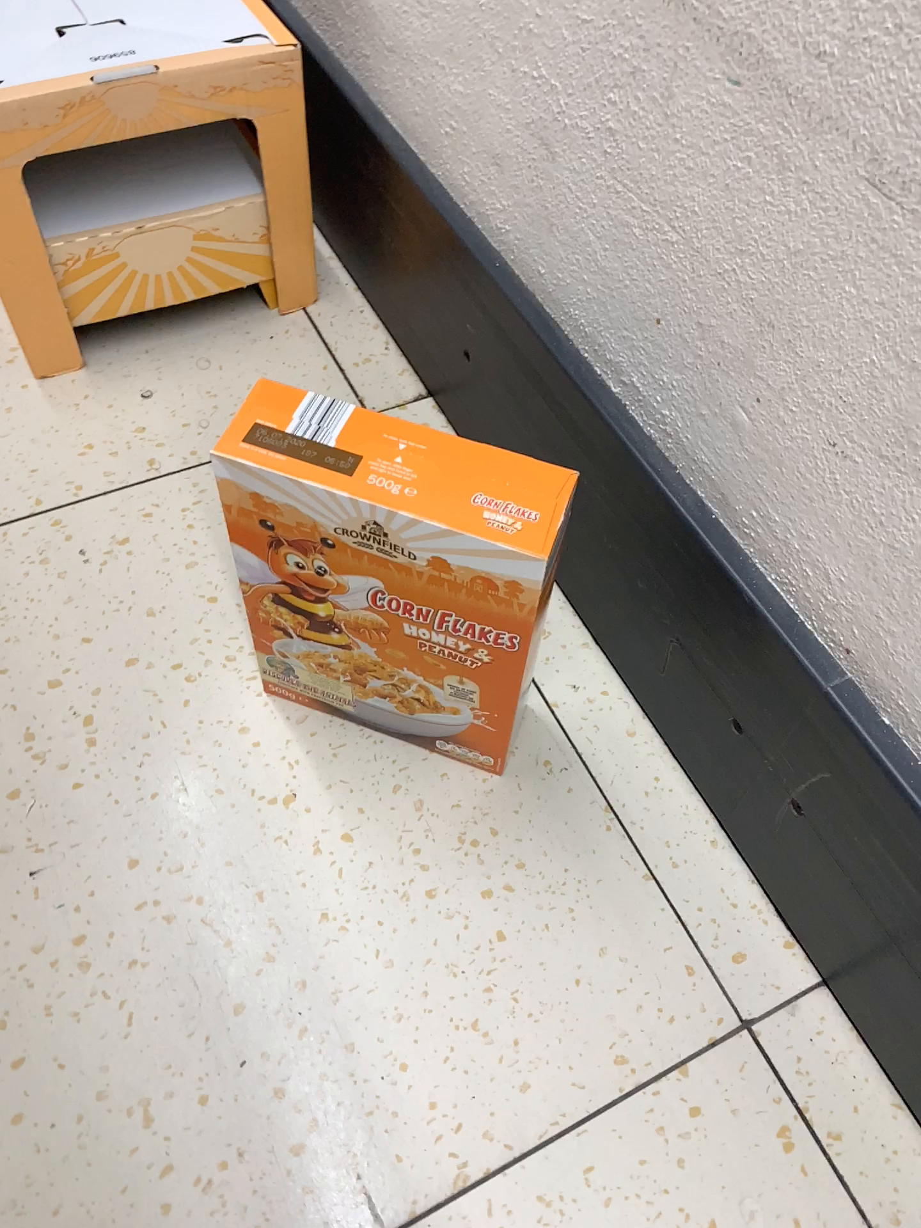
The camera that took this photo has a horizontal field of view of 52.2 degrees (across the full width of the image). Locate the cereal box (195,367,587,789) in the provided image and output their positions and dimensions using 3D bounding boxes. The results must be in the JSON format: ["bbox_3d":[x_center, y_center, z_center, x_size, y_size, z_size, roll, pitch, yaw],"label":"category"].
[{"bbox_3d":[-0.045,-0.007,0.617,0.200,0.268,0.070,19,55,9],"label":"cereal box"}]
